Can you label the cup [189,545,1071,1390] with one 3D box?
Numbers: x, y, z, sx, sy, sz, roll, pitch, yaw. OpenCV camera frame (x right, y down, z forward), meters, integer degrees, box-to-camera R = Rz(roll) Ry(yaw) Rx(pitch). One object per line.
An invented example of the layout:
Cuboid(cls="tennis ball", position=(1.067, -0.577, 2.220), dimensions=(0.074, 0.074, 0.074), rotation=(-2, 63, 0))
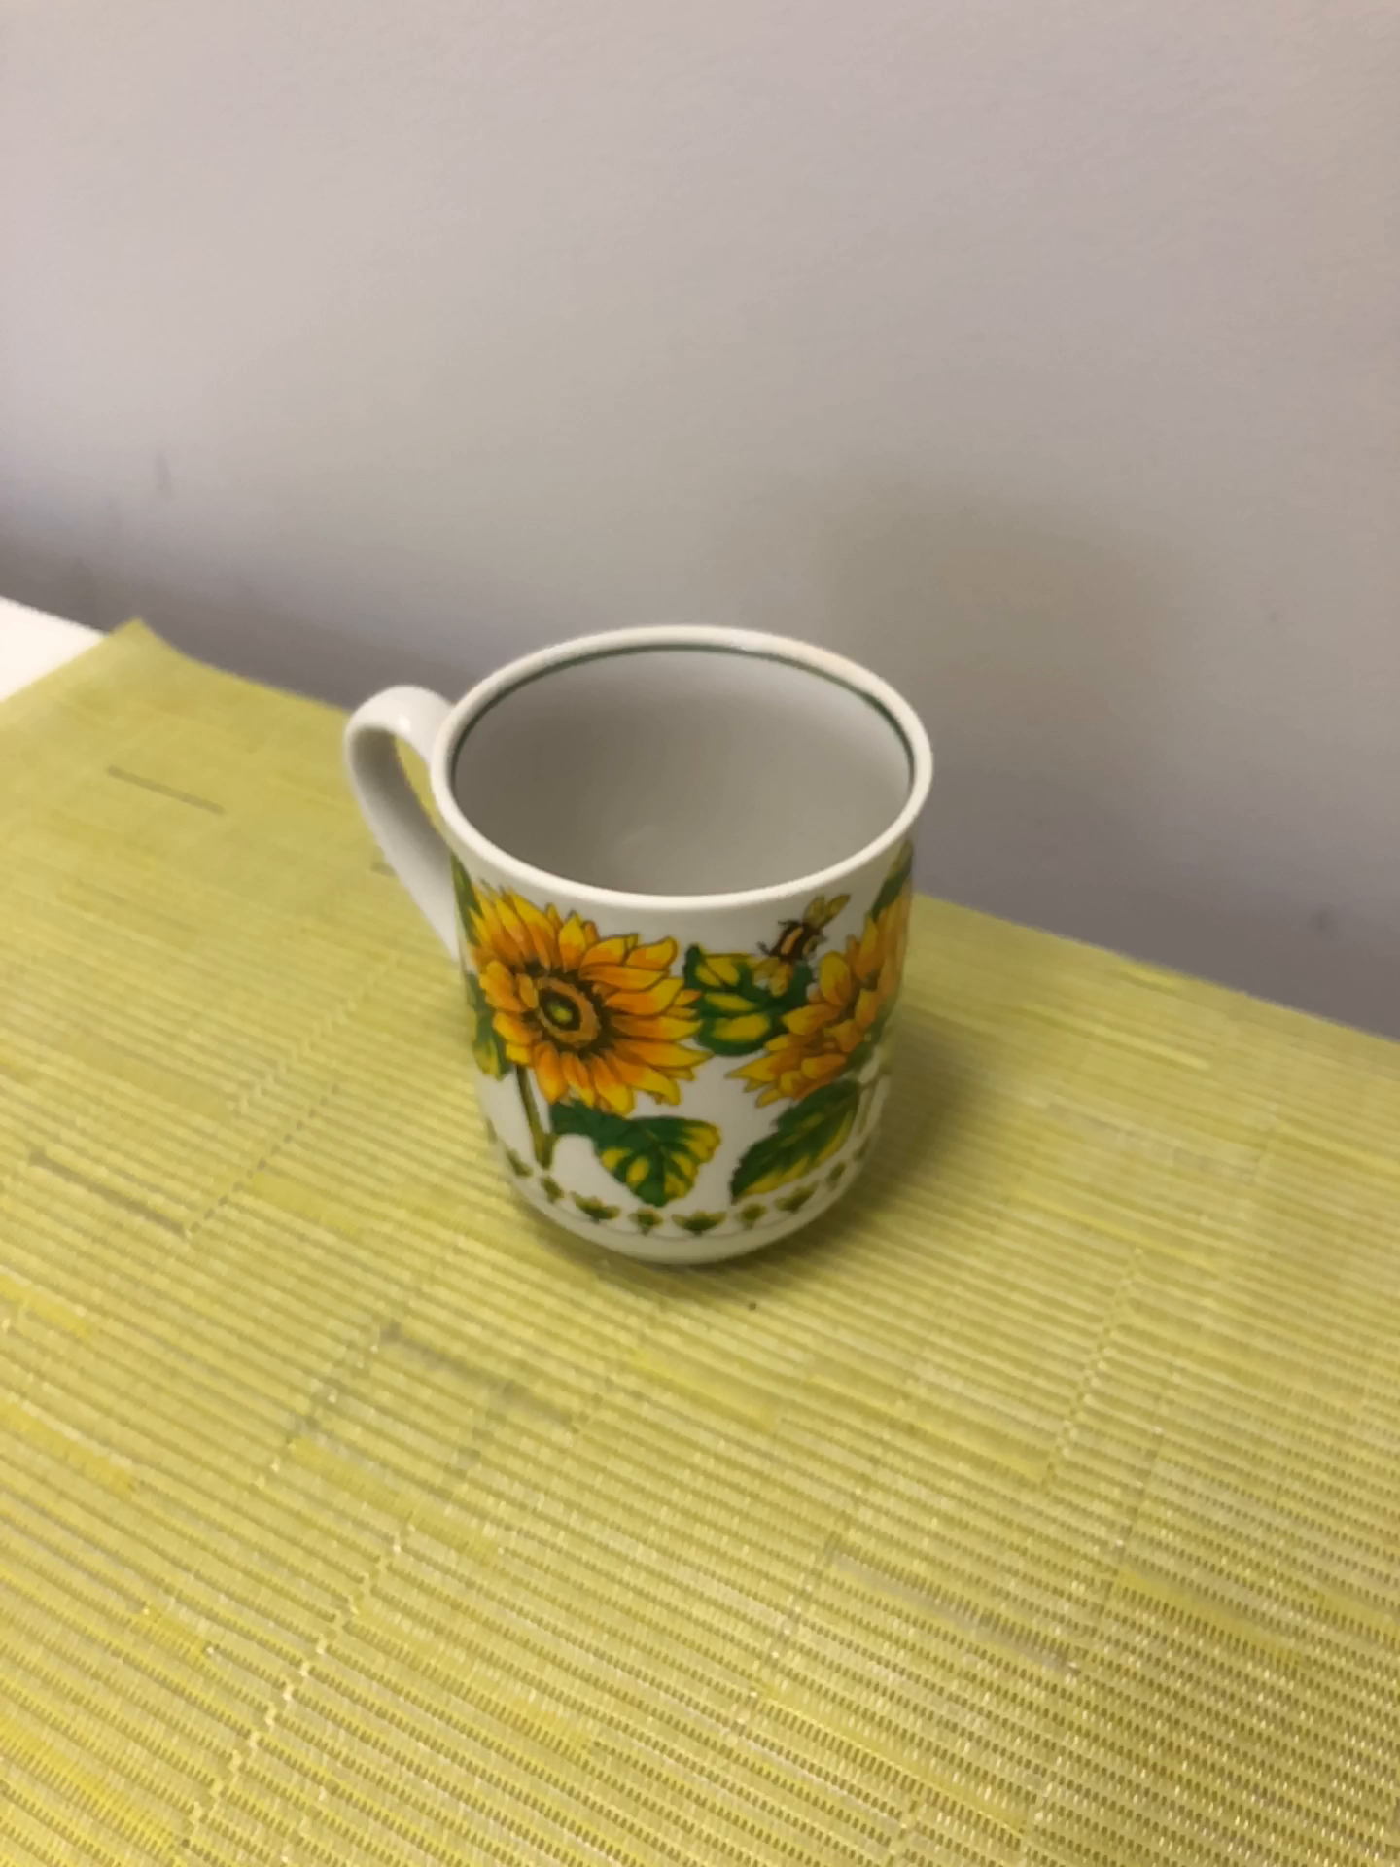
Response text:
Cuboid(cls="cup", position=(-0.011, -0.001, 0.286), dimensions=(0.116, 0.084, 0.088), rotation=(23, 42, 25))
